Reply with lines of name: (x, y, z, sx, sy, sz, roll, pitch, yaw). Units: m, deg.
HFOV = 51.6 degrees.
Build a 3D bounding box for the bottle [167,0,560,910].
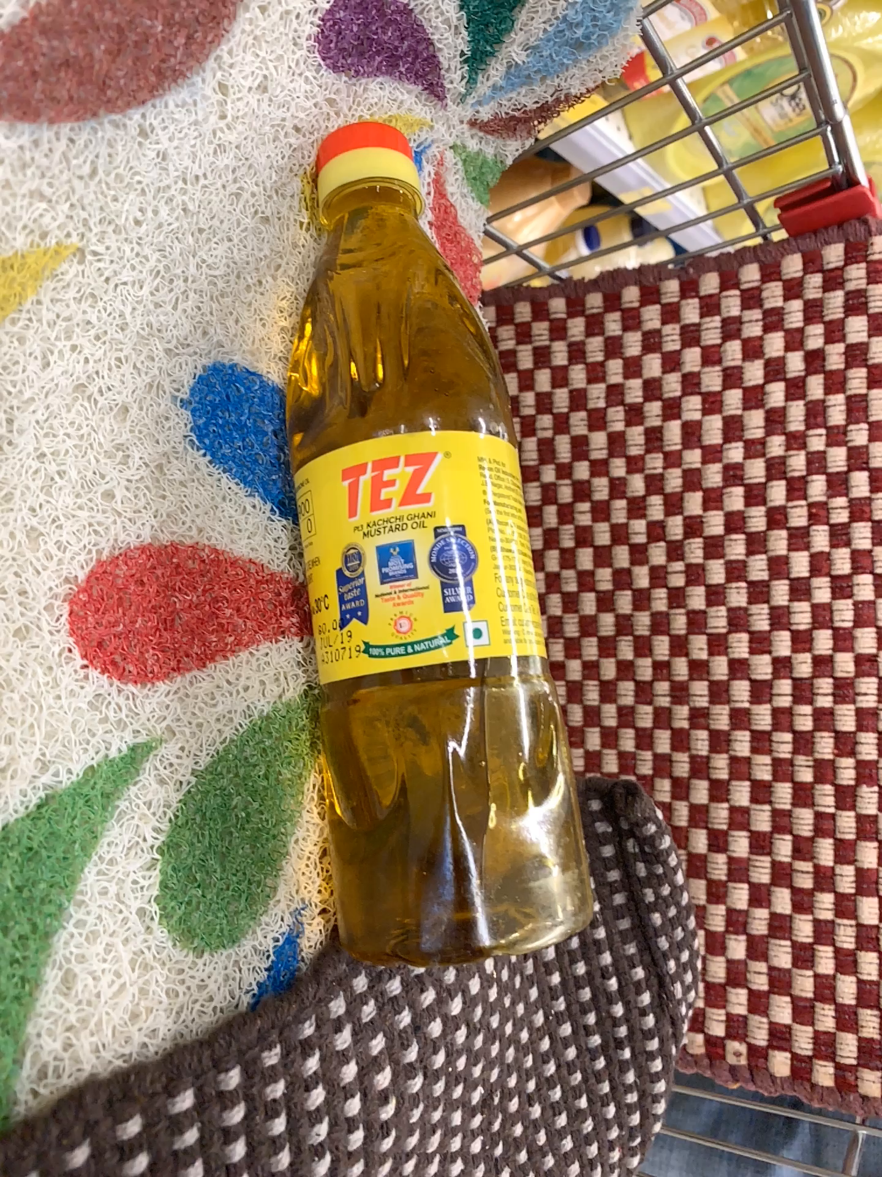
bottle: (-0.014, -0.037, 0.219, 0.070, 0.060, 0.200, 0, 88, -68)
